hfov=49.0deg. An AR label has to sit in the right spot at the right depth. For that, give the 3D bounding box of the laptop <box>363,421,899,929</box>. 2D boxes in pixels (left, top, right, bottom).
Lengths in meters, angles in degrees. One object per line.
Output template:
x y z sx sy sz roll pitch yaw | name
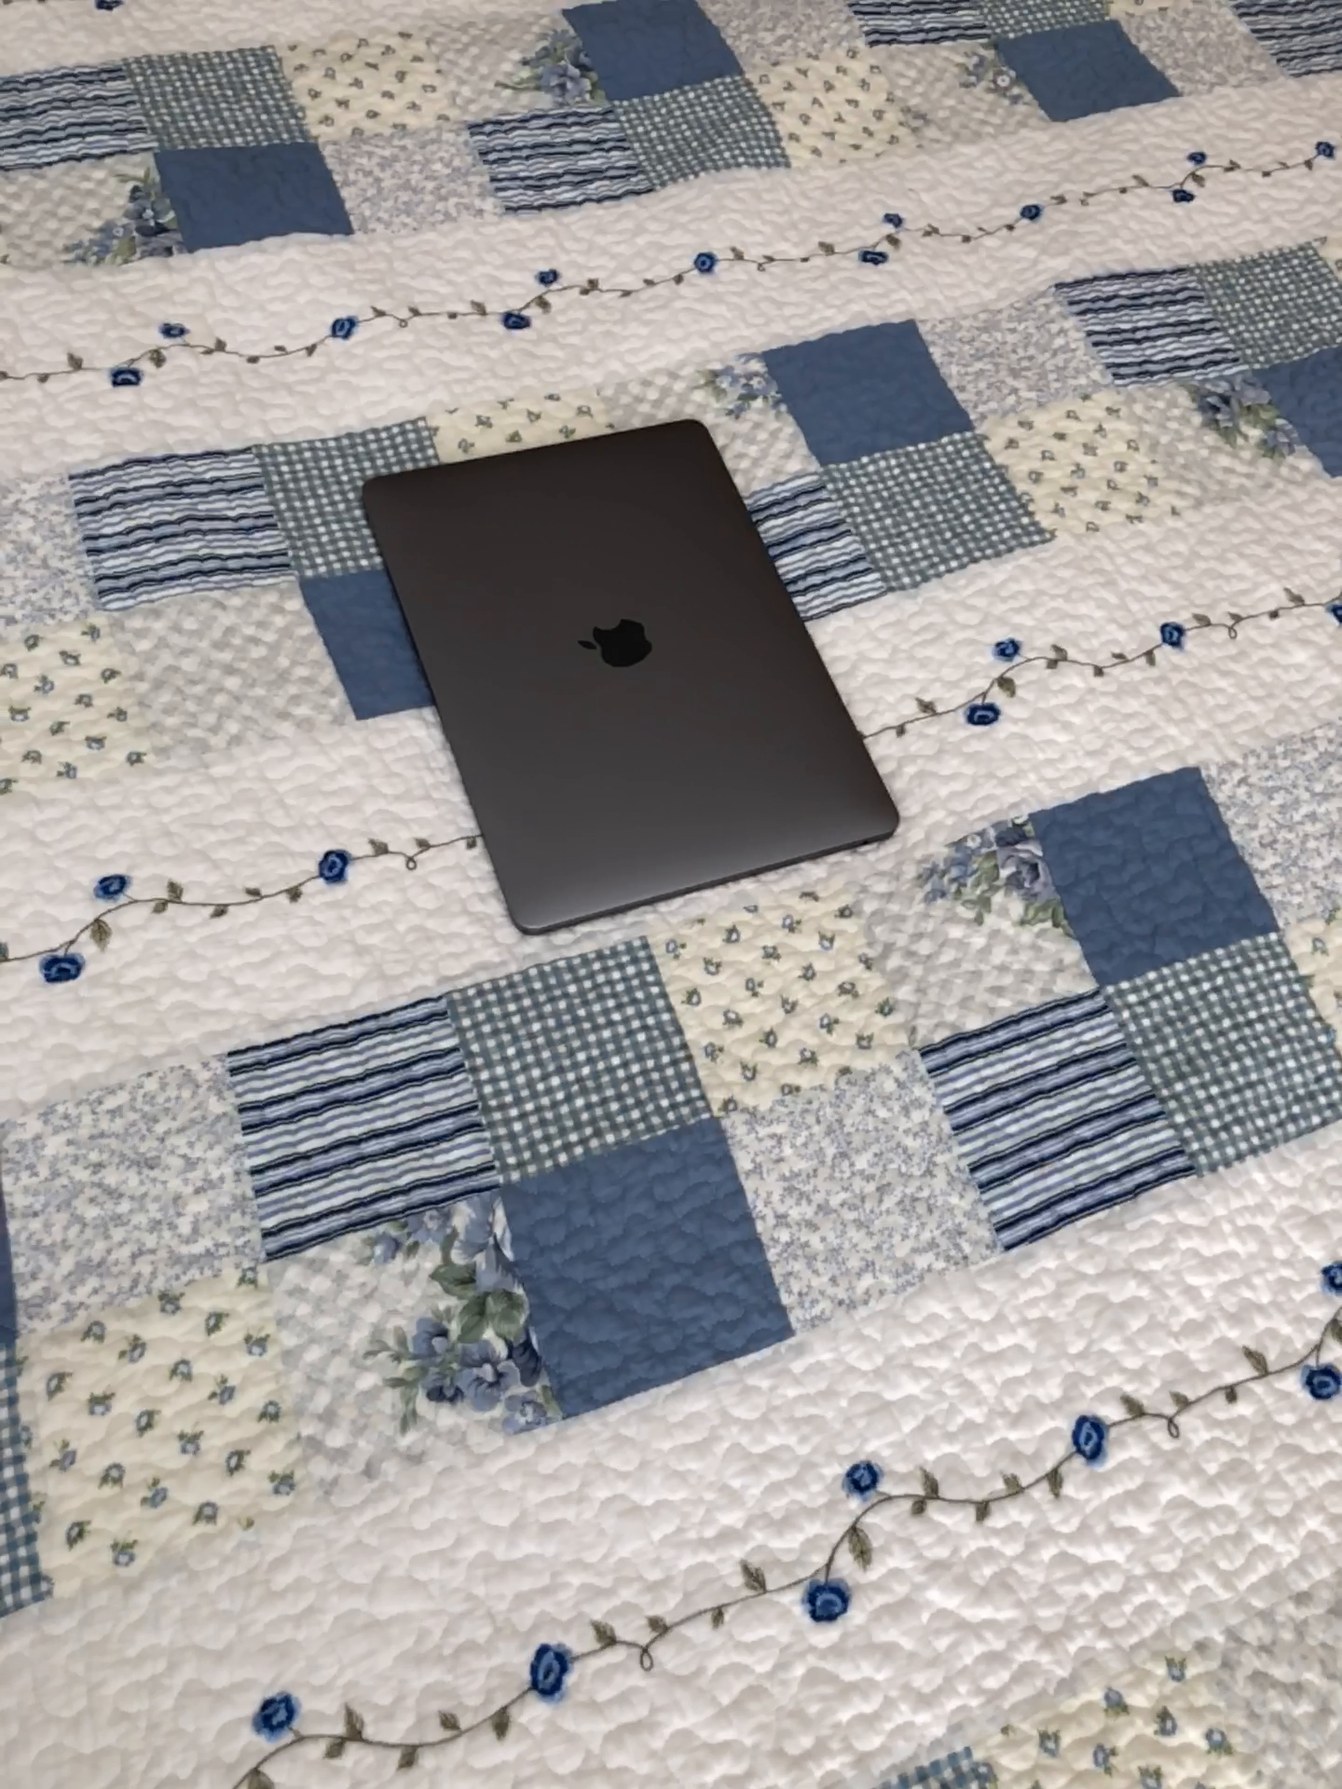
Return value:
-0.028 -0.132 0.785 0.201 0.005 0.290 -15 64 -15 | laptop
